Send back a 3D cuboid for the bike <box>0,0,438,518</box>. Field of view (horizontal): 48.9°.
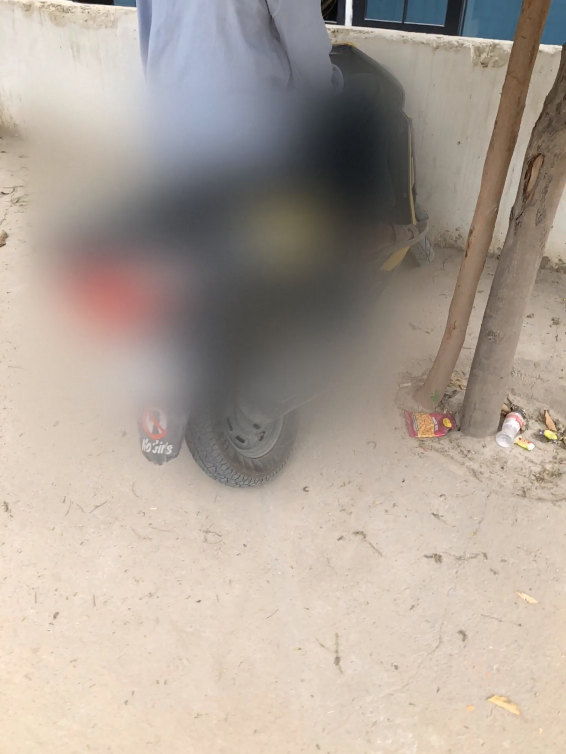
[{"bbox_3d":[-0.089,-0.659,1.881,0.633,1.144,1.582,14,39,17],"label":"bike"}]
